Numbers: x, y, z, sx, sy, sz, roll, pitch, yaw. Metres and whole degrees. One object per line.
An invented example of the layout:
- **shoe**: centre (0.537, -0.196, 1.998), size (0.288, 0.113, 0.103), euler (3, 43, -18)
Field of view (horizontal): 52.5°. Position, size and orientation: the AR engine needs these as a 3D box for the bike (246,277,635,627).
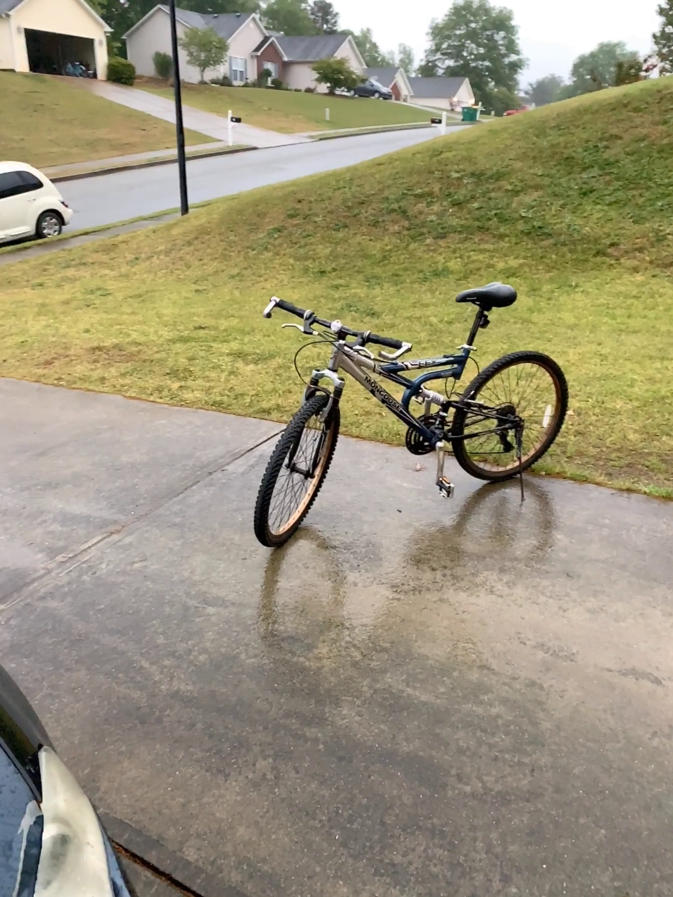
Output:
- **bike**: centre (0.460, -0.116, 2.845), size (1.691, 0.948, 0.546), euler (-15, 29, -32)
